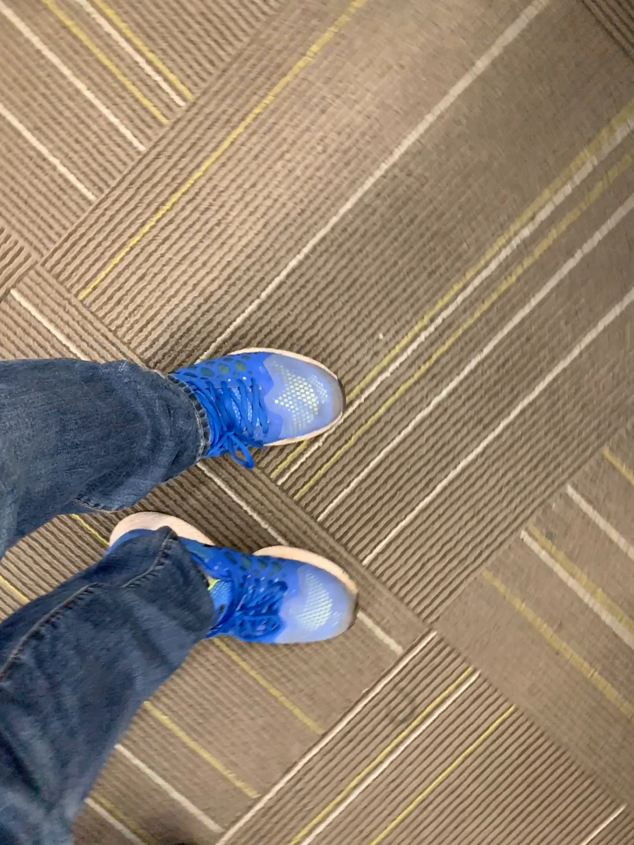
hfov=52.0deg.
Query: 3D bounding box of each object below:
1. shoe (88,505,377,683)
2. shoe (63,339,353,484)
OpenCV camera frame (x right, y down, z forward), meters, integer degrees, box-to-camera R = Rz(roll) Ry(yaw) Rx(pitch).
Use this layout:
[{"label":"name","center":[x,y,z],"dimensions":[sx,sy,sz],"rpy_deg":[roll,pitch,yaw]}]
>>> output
[{"label":"shoe","center":[-0.095,0.198,0.758],"dimensions":[0.299,0.077,0.129],"rpy_deg":[12,96,-4]},{"label":"shoe","center":[-0.117,-0.016,0.738],"dimensions":[0.298,0.077,0.125],"rpy_deg":[-6,97,-2]}]
